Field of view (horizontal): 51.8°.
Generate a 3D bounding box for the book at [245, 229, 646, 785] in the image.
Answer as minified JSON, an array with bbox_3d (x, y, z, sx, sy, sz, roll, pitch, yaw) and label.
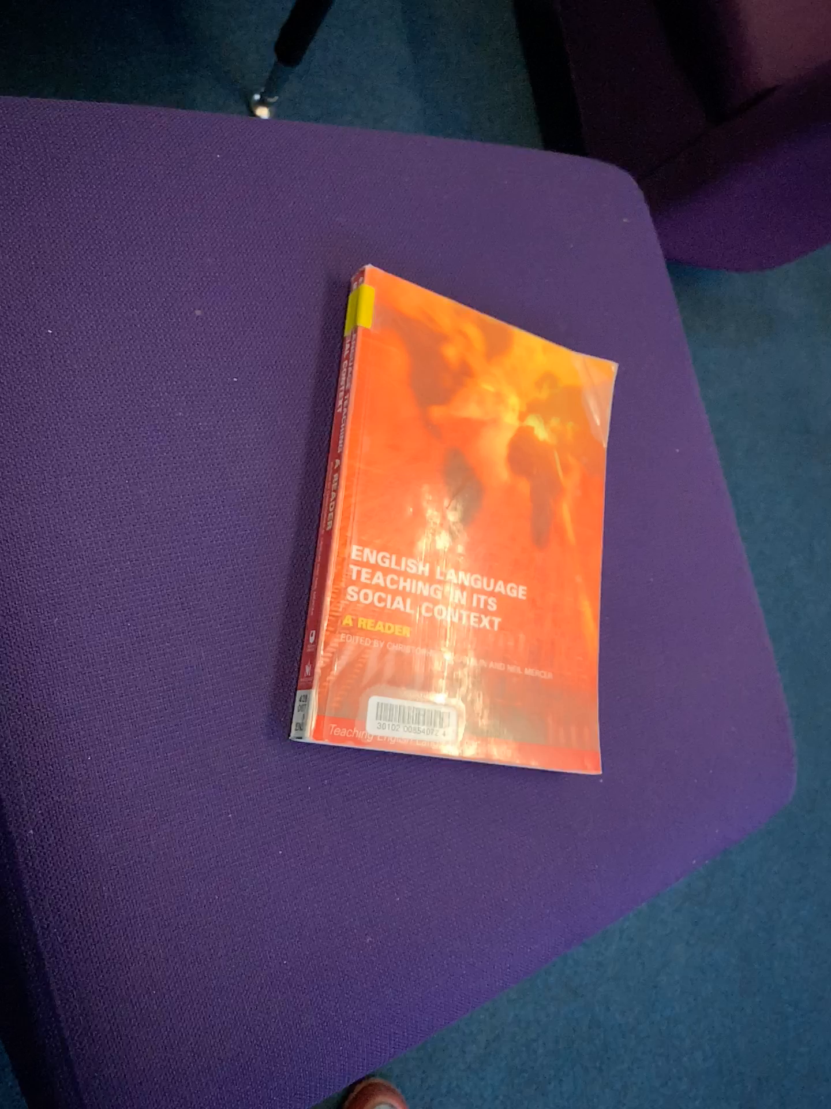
[{"bbox_3d":[0.033,-0.016,0.491,0.221,0.050,0.271,14,71,-29],"label":"book"}]
